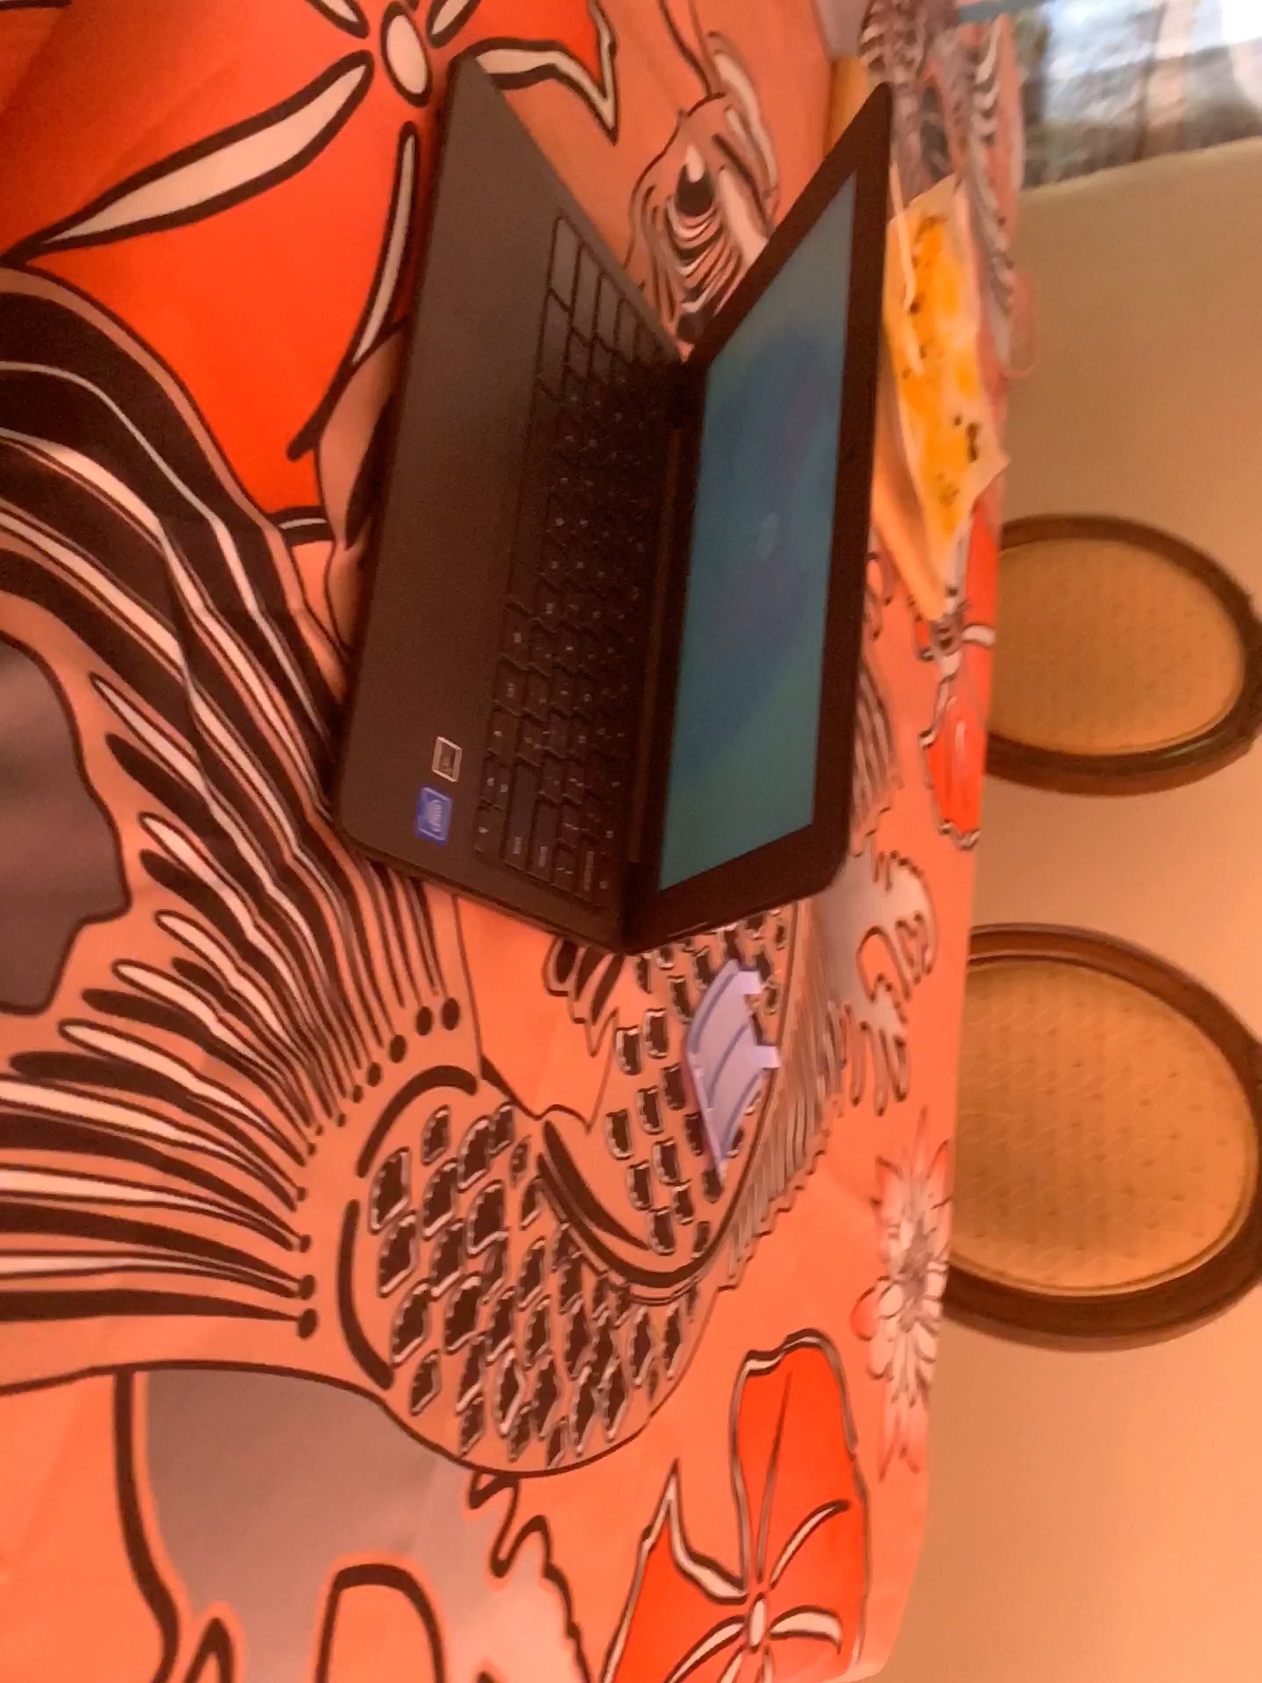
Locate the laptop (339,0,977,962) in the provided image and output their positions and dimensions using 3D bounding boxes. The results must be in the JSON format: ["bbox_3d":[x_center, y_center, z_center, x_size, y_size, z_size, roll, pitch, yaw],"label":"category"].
[{"bbox_3d":[0.034,-0.123,0.495,0.212,0.144,0.299,32,60,-60],"label":"laptop"}]
